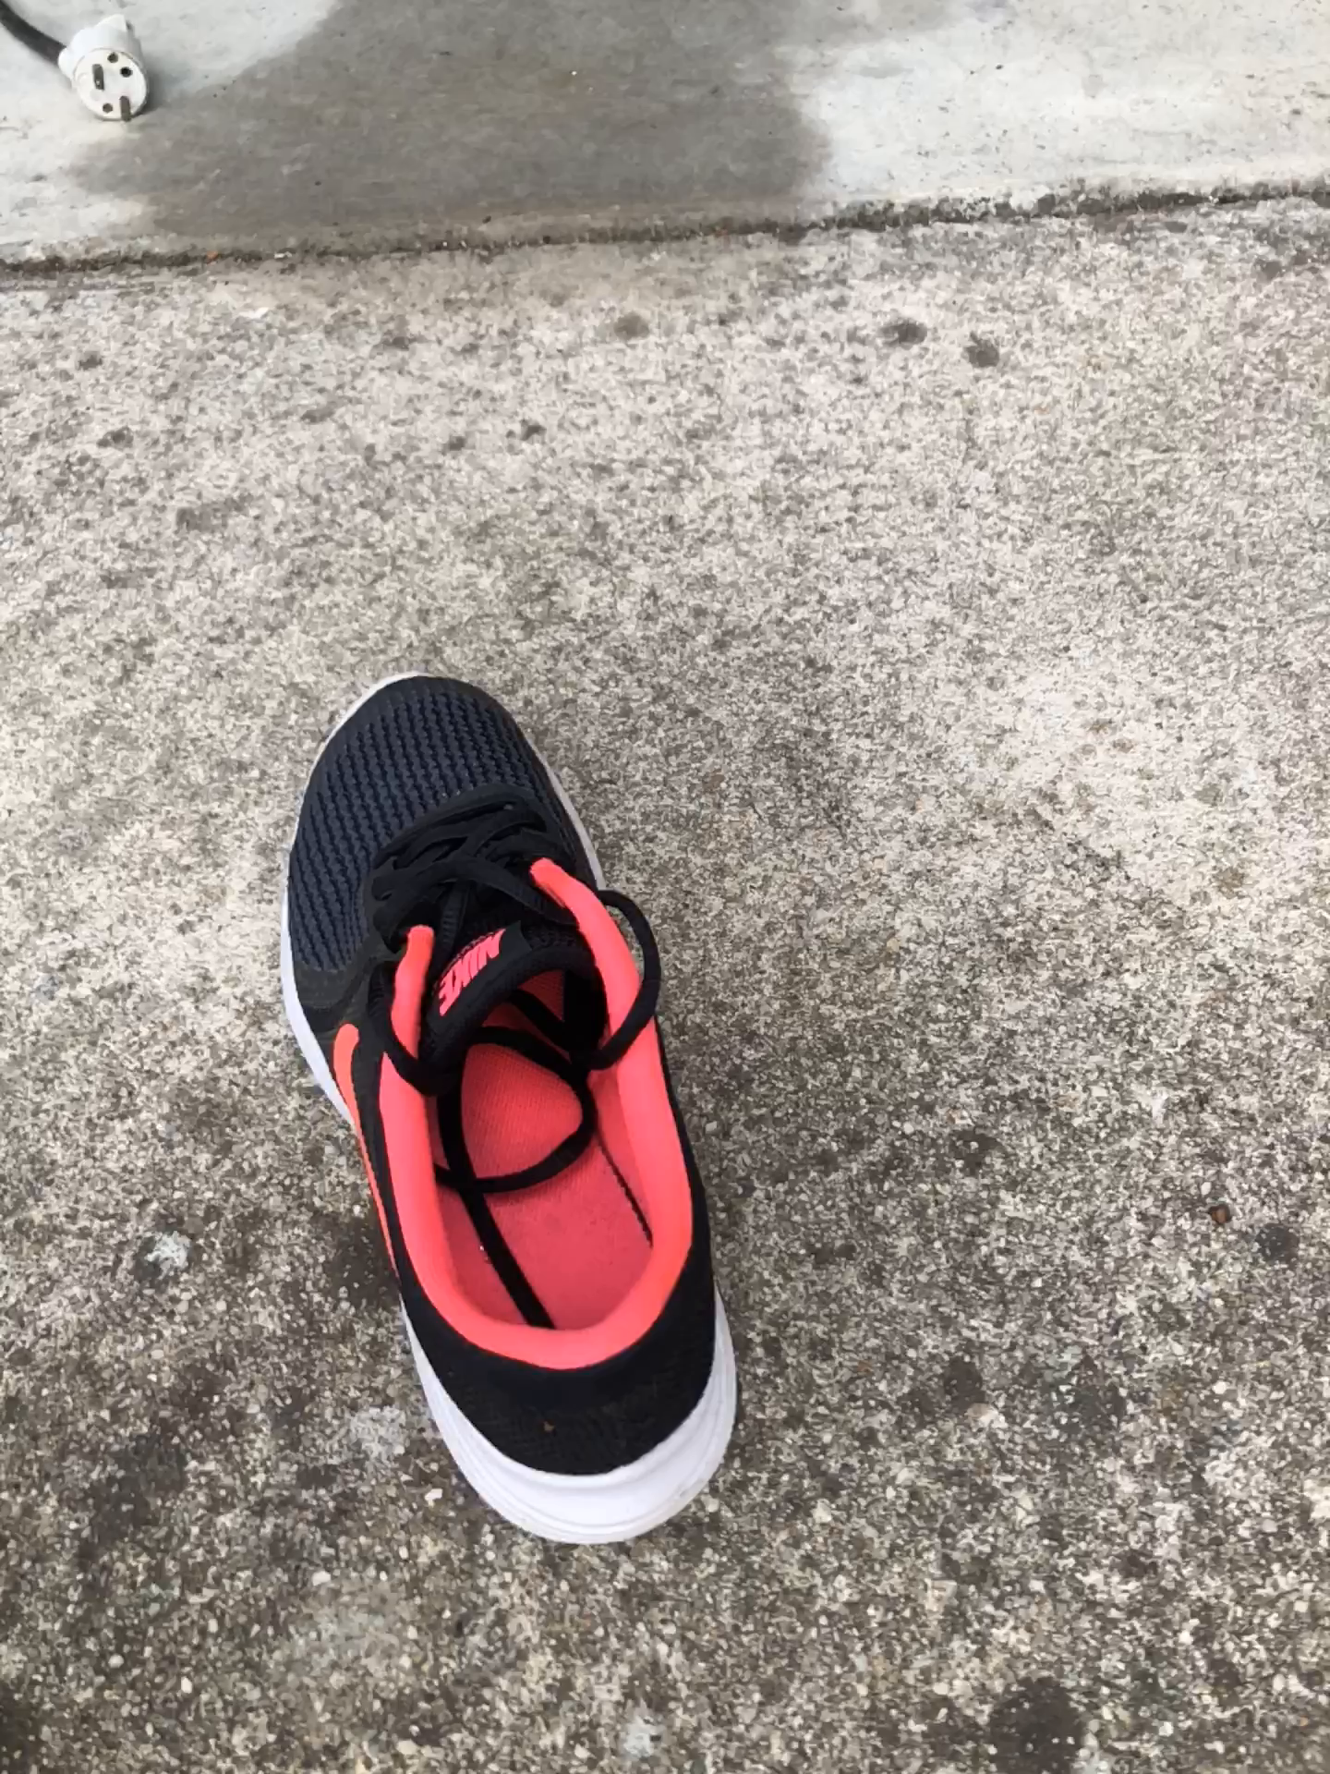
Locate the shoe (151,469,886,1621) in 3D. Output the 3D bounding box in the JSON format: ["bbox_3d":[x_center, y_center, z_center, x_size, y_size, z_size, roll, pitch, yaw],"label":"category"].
[{"bbox_3d":[-0.050,0.025,0.391,0.110,0.100,0.273,-17,56,-8],"label":"shoe"}]
